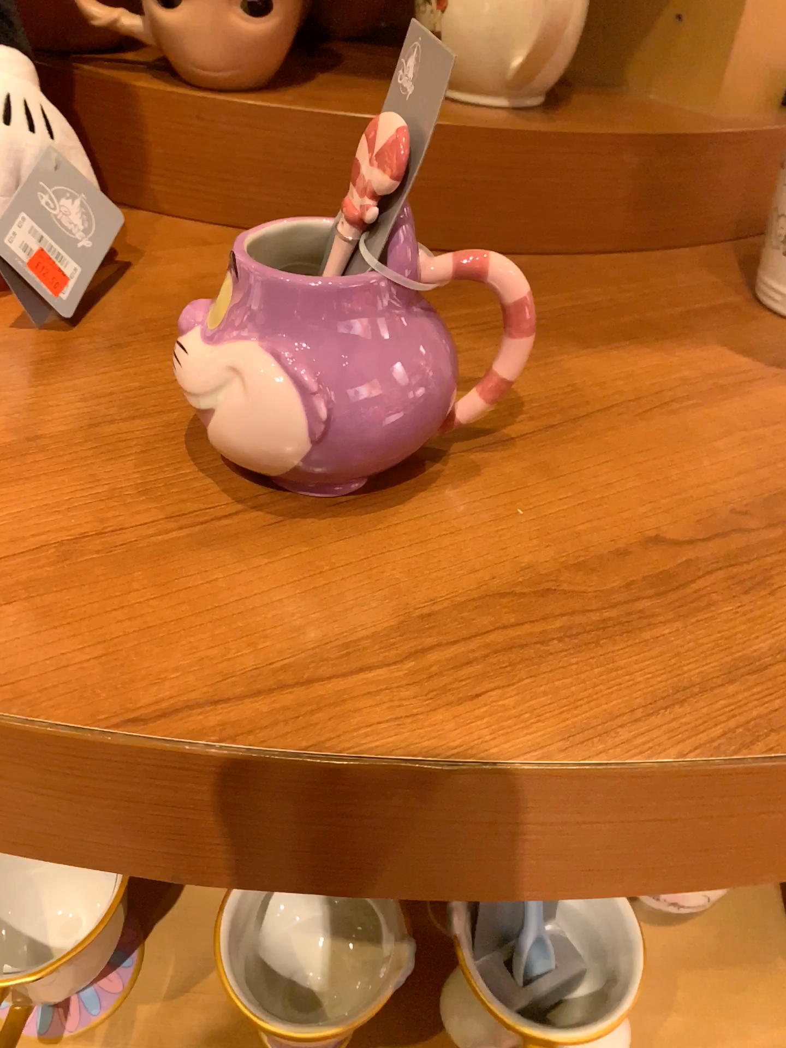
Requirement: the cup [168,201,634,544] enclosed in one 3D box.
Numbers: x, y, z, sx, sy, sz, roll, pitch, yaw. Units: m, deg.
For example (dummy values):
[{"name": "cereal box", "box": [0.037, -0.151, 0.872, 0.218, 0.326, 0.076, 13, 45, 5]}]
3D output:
[{"name": "cup", "box": [-0.006, -0.069, 0.324, 0.142, 0.077, 0.115, -9, 40, -18]}]
